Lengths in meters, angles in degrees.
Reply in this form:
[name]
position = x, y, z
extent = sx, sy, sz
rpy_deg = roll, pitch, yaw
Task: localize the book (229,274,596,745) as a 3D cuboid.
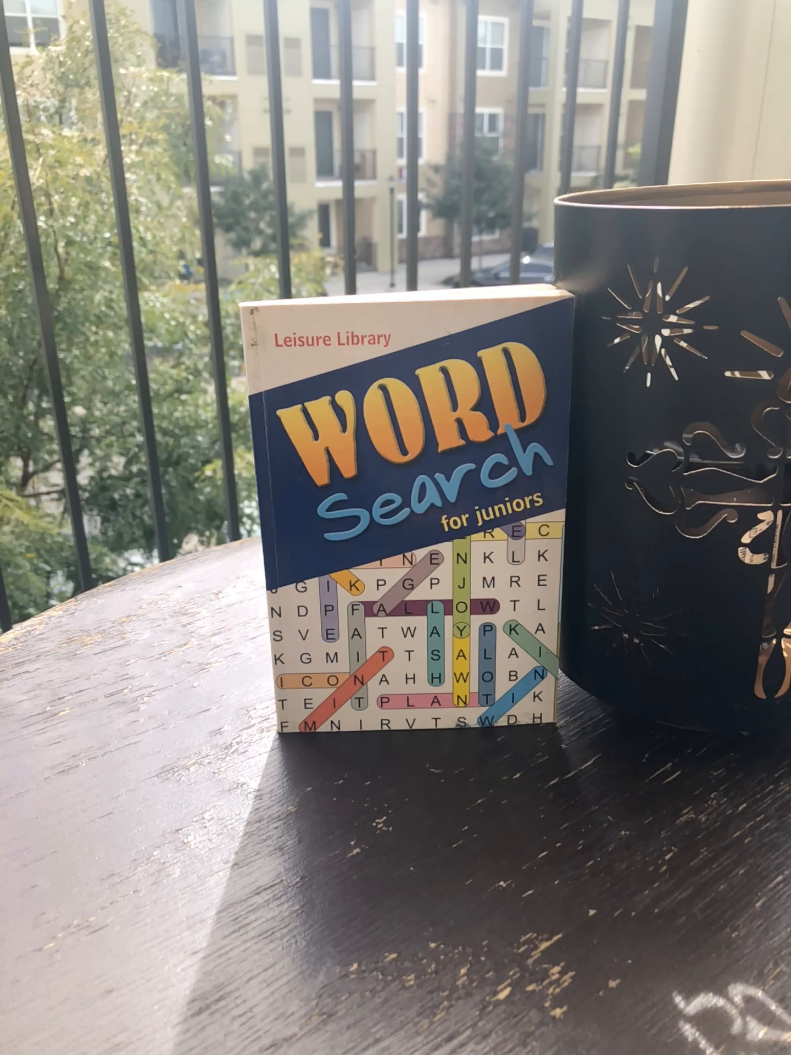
[book]
position = 0.006, -0.004, 0.341
extent = 0.124, 0.179, 0.031
rpy_deg = -2, 20, -3
